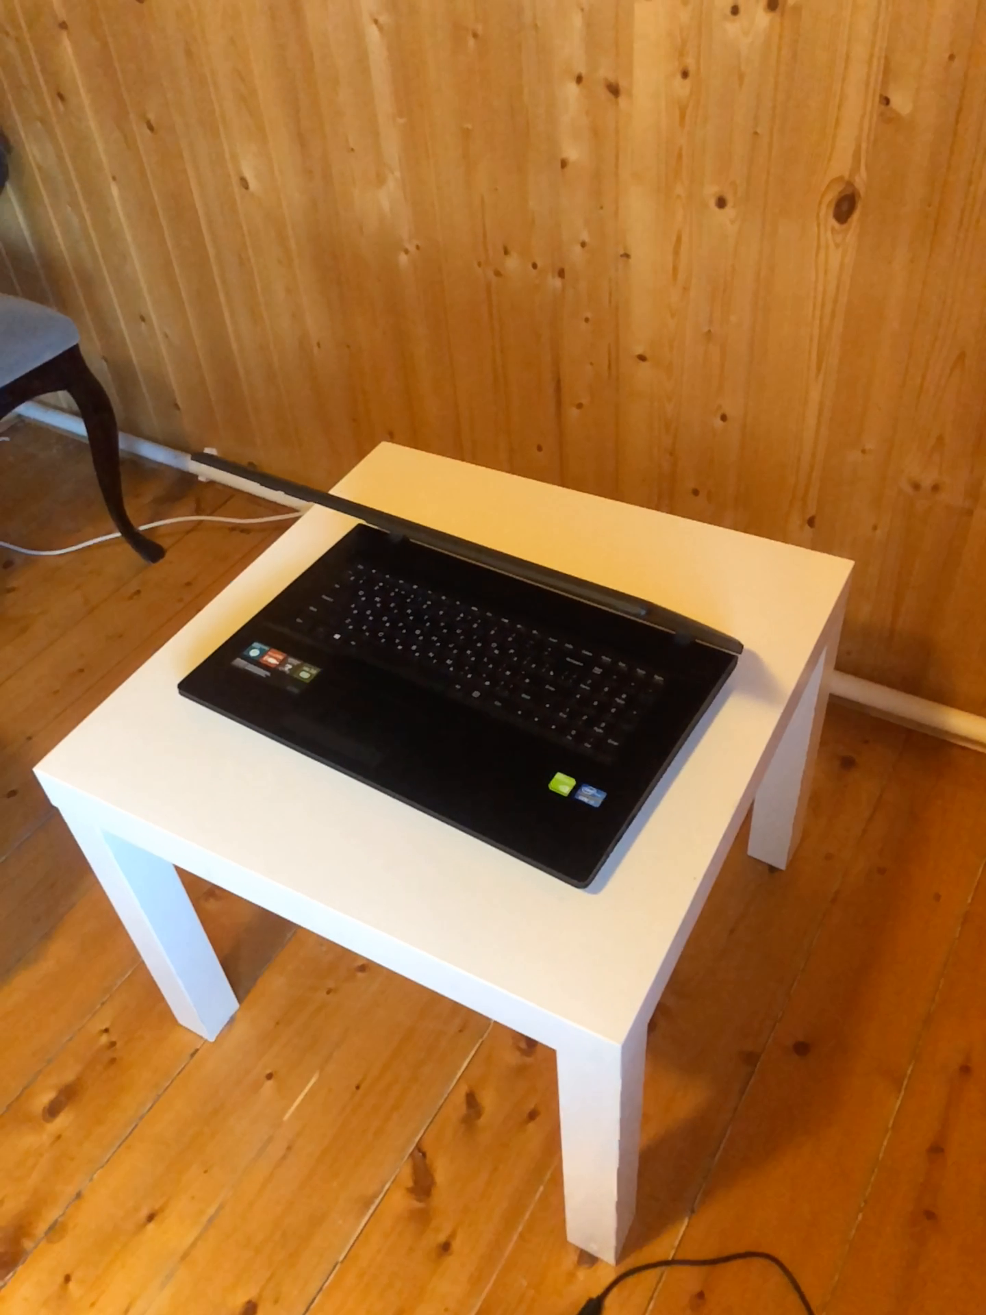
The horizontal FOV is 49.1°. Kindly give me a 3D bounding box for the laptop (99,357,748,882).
[{"bbox_3d":[-0.047,-0.052,0.855,0.402,0.183,0.252,21,50,24],"label":"laptop"}]
